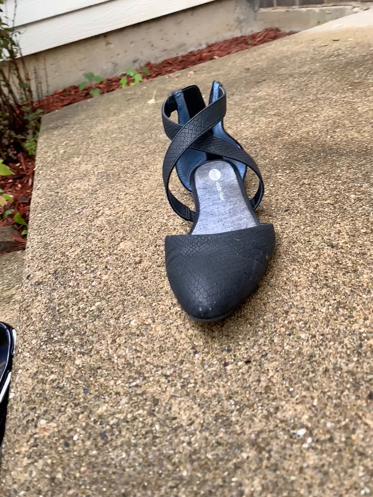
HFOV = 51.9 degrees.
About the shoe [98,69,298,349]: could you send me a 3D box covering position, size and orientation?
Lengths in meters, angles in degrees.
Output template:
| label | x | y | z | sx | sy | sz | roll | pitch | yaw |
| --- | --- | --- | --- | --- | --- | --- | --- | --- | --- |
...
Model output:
| label | x | y | z | sx | sy | sz | roll | pitch | yaw |
| --- | --- | --- | --- | --- | --- | --- | --- | --- | --- |
| shoe | 0.023 | -0.059 | 0.332 | 0.097 | 0.112 | 0.264 | -8 | 34 | 11 |
